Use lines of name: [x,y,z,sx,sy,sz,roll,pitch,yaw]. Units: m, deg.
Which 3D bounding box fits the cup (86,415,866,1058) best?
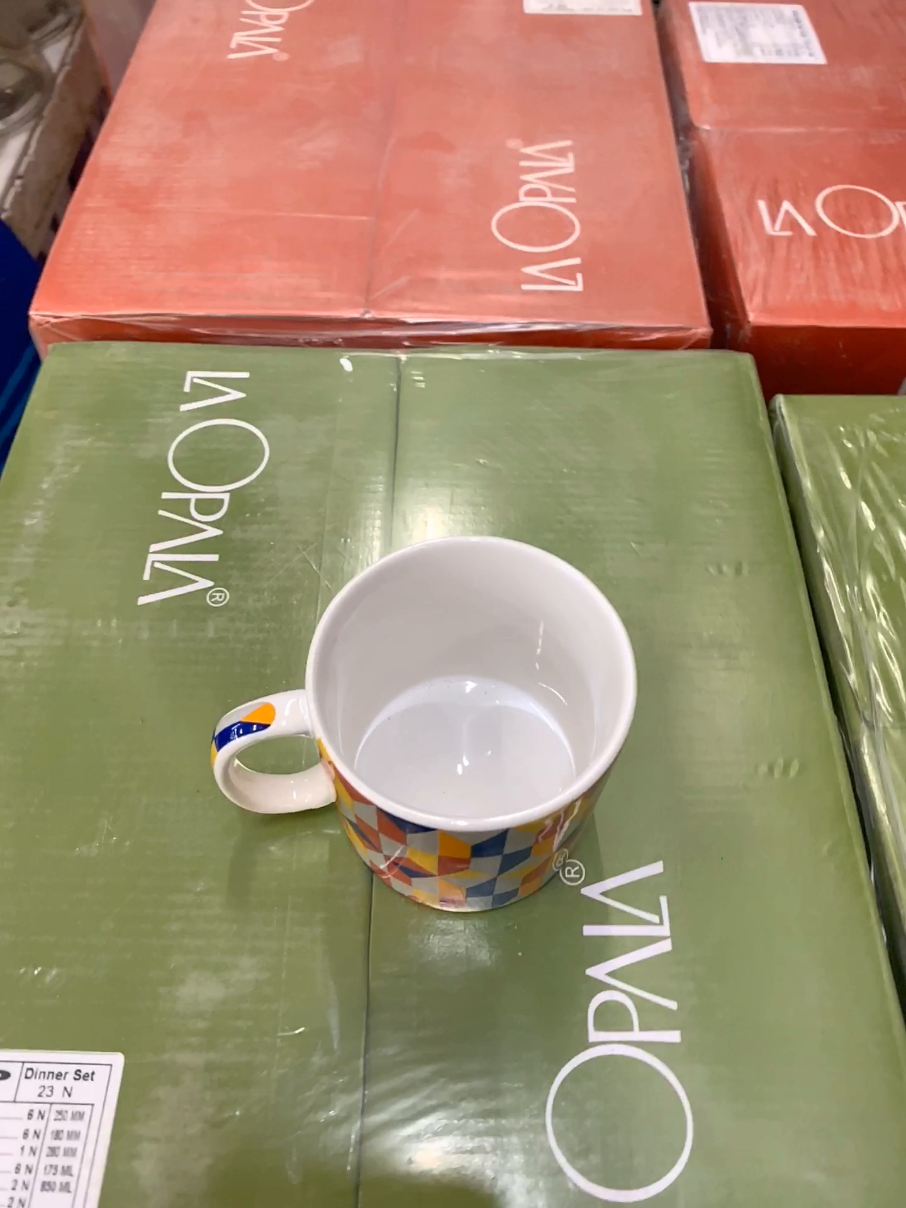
cup: [-0.002,0.034,0.221,0.130,0.100,0.090,-12,58,-9]
